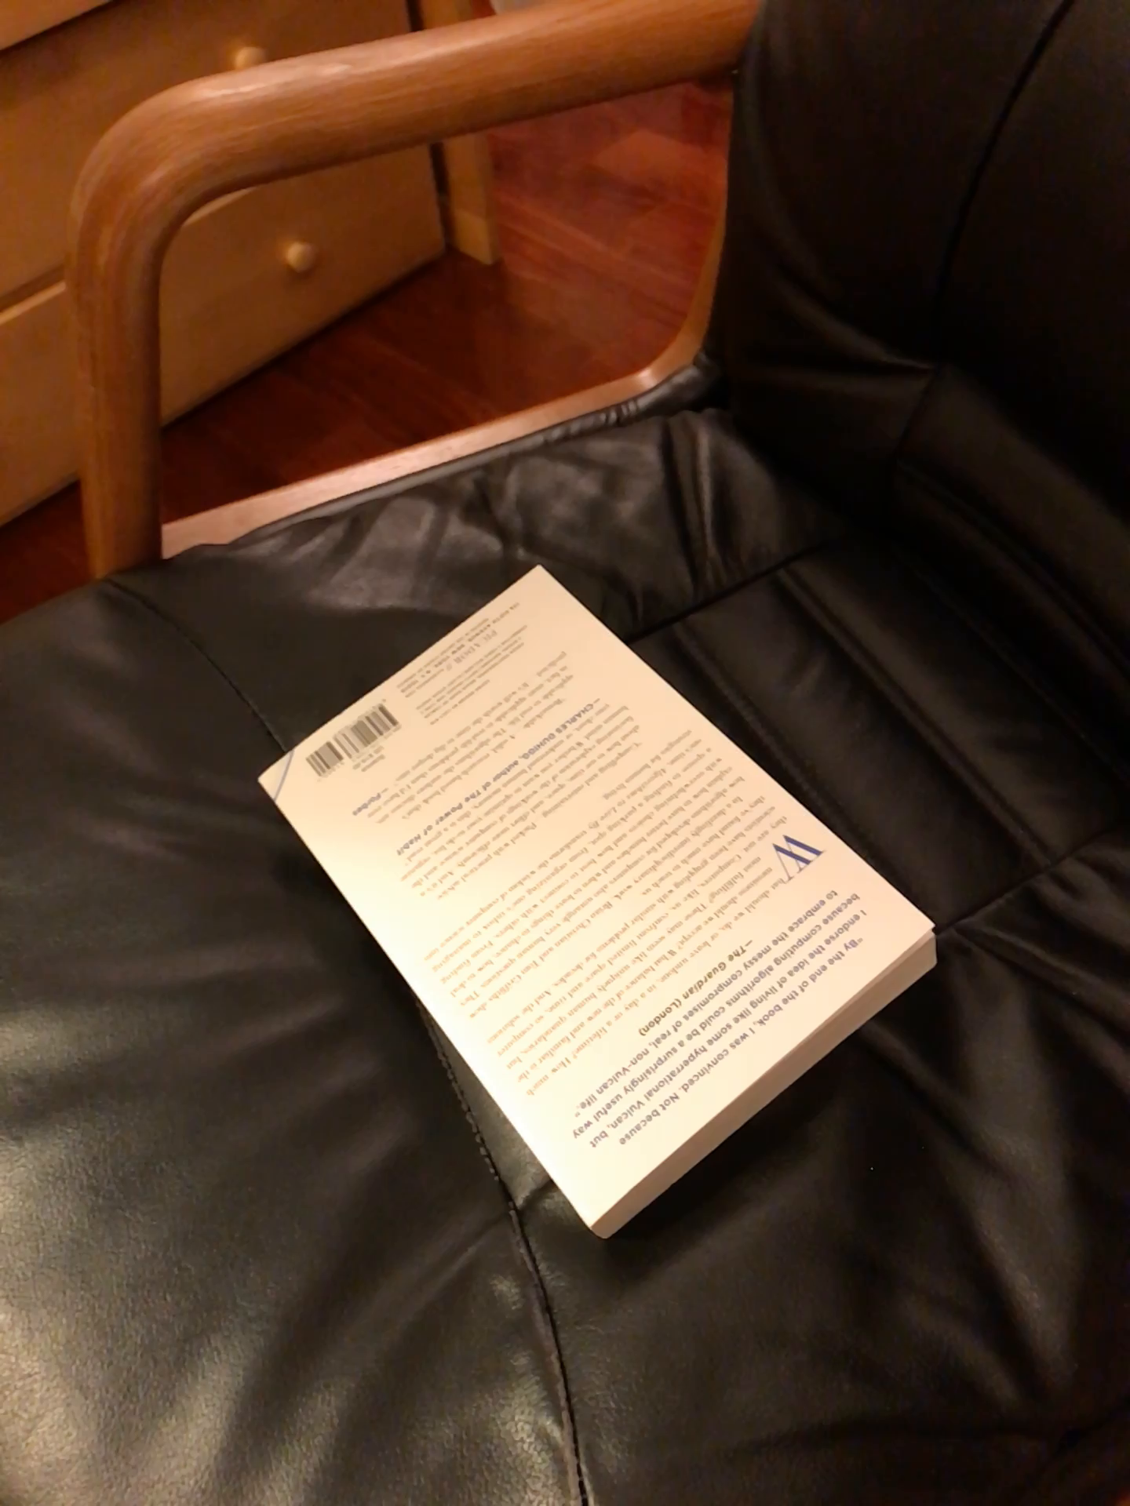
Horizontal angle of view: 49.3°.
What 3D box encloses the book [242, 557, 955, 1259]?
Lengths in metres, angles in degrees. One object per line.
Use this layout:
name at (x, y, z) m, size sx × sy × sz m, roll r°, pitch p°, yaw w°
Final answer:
book at (0.001, 0.040, 0.486) m, size 0.160 × 0.020 × 0.251 m, roll -36°, pitch 58°, yaw -12°
